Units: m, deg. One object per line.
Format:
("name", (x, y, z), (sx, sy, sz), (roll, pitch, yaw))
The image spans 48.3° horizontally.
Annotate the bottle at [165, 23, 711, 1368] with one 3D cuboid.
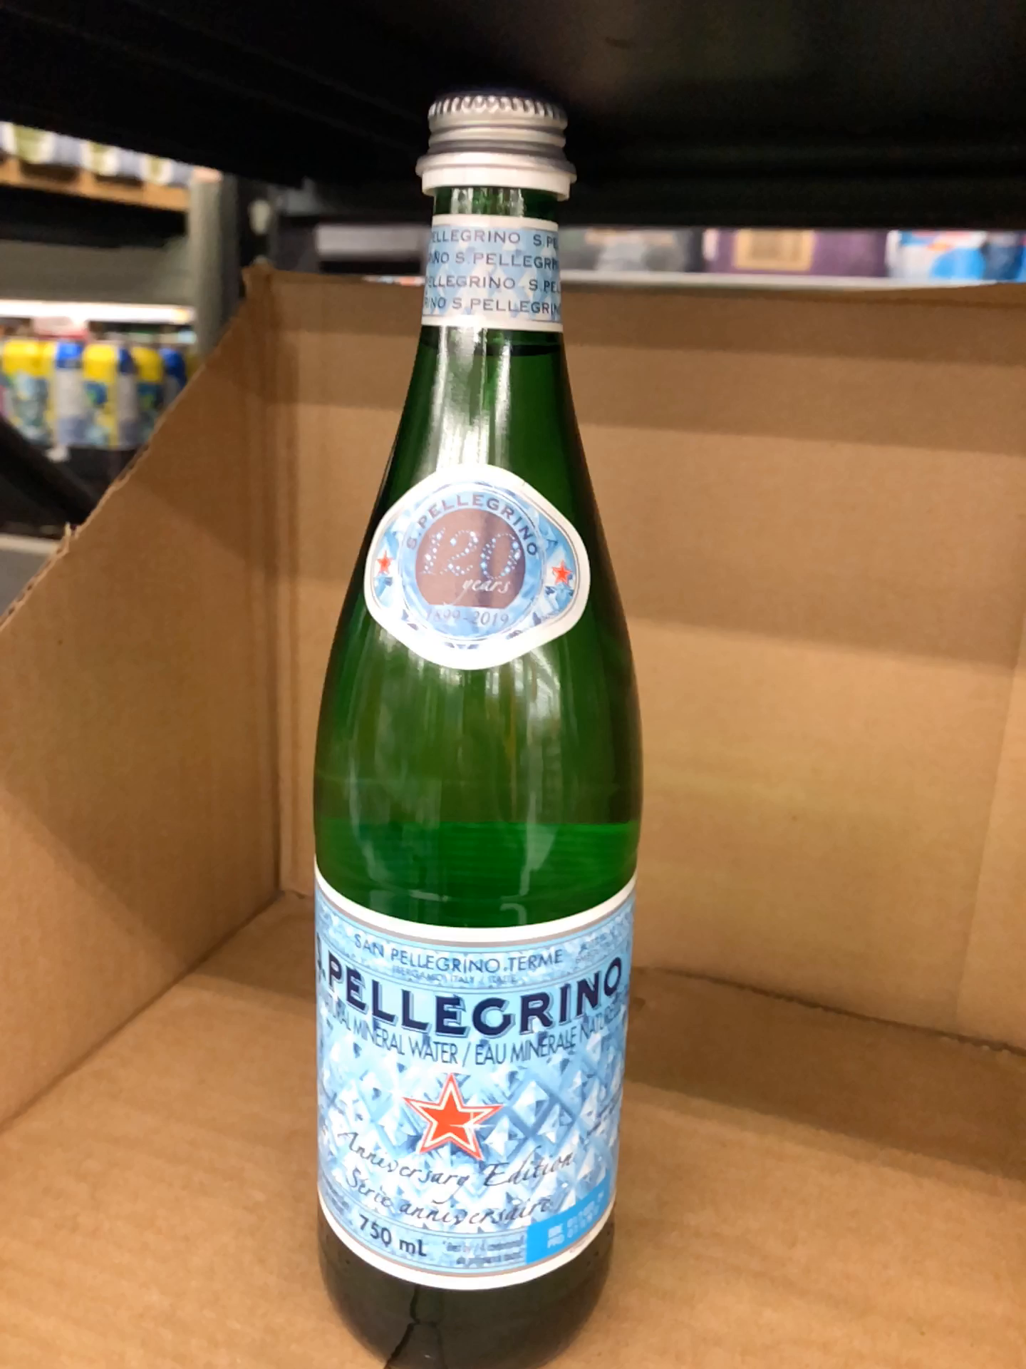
("bottle", (-0.014, 0.022, 0.251), (0.080, 0.279, 0.070), (7, 17, 17))
